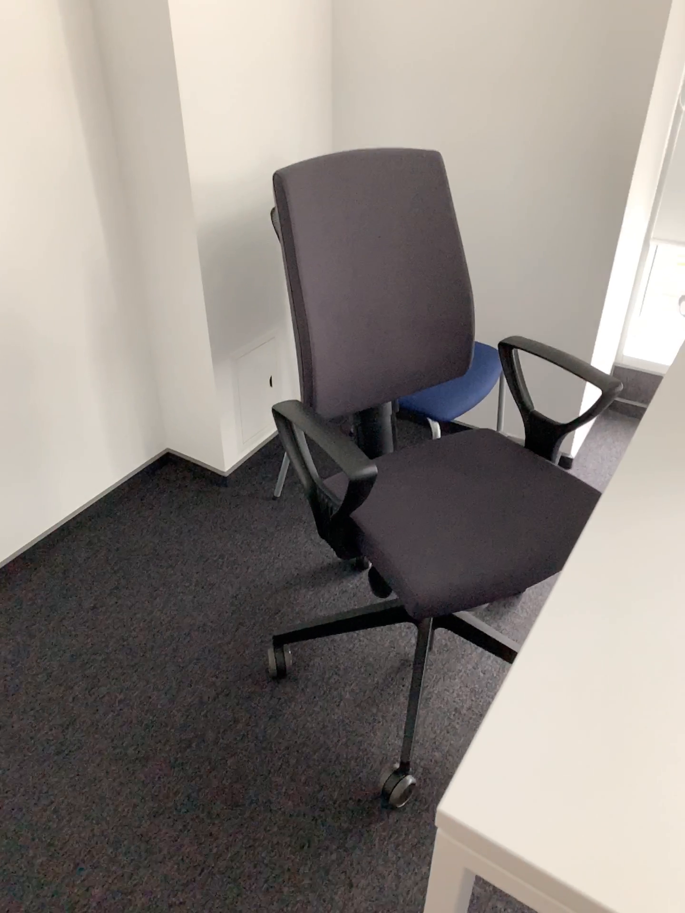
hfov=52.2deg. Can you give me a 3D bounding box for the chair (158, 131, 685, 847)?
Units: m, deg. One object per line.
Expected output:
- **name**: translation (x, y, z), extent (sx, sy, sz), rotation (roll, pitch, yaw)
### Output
- **chair**: translation (0.171, 0.005, 1.344), extent (0.691, 1.004, 0.683), rotation (-20, 39, -27)

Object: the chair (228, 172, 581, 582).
- **chair**: translation (0.173, -0.266, 1.948), extent (0.611, 0.805, 0.673), rotation (22, 40, 28)
